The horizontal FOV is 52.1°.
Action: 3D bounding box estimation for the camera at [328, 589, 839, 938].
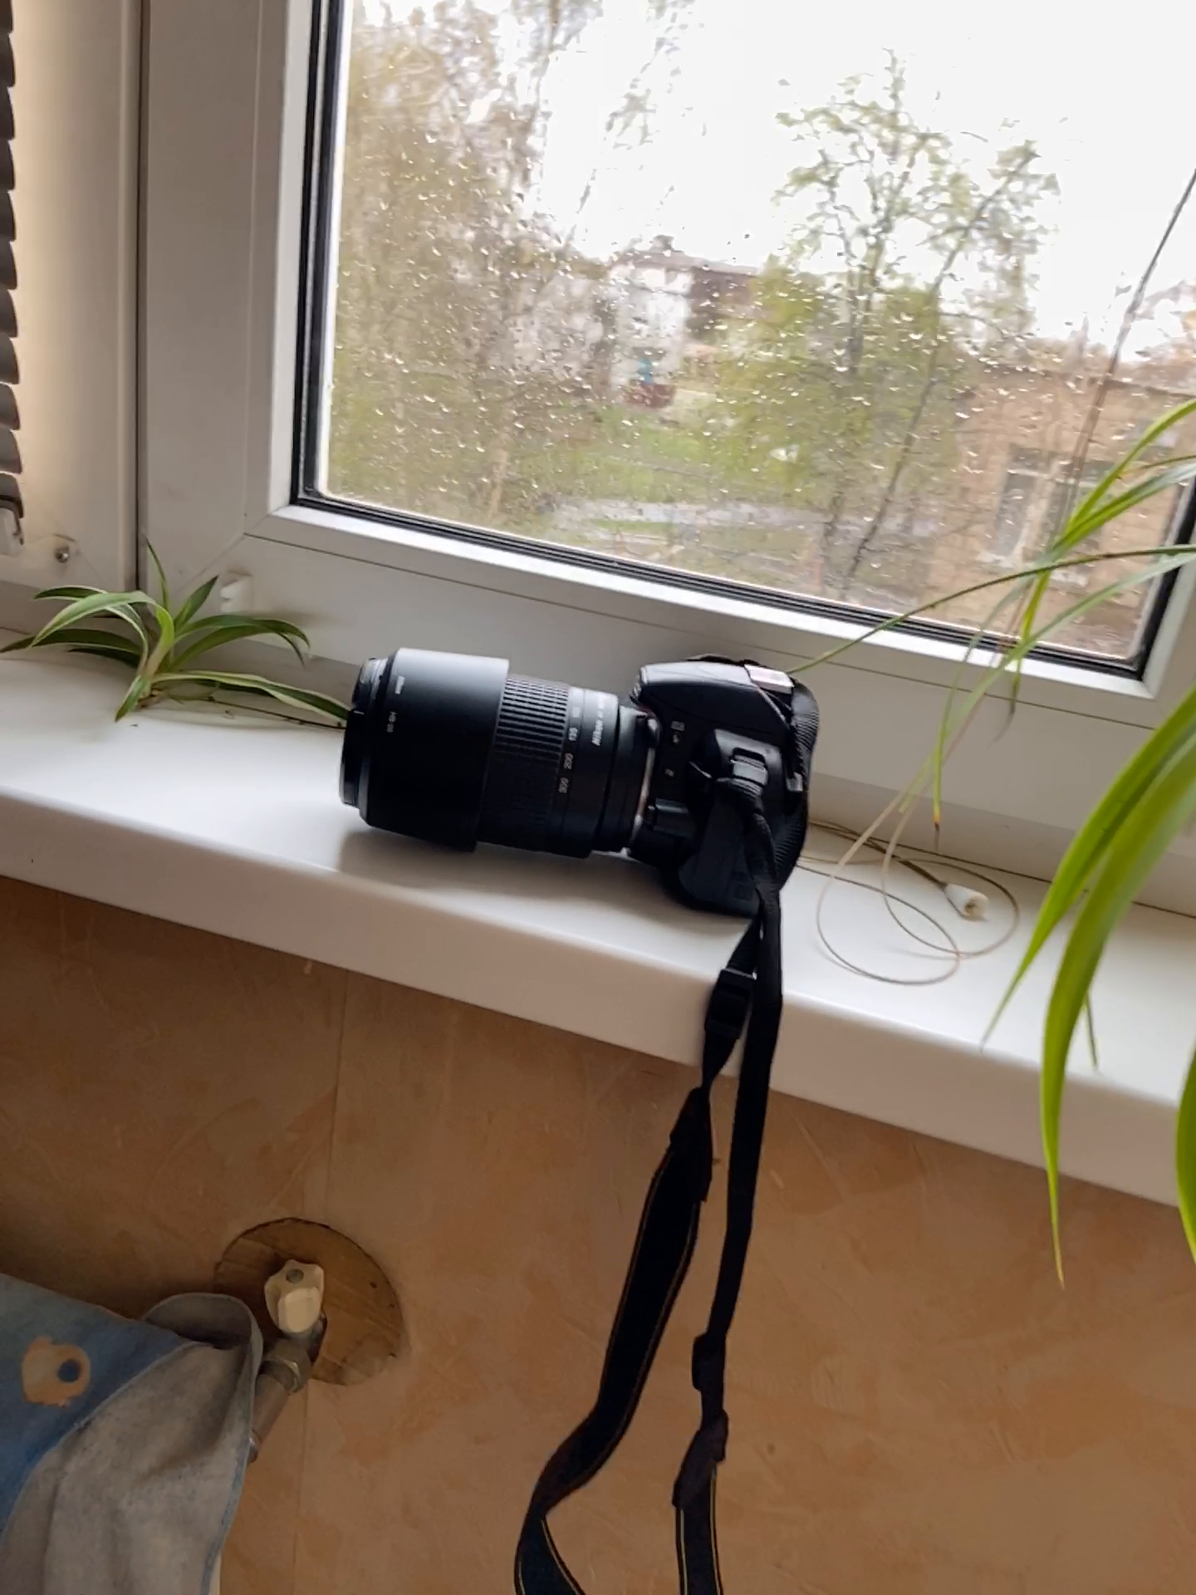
[{"bbox_3d":[-0.009,-0.020,0.538,0.190,0.089,0.126,8,23,-5],"label":"camera"}]
